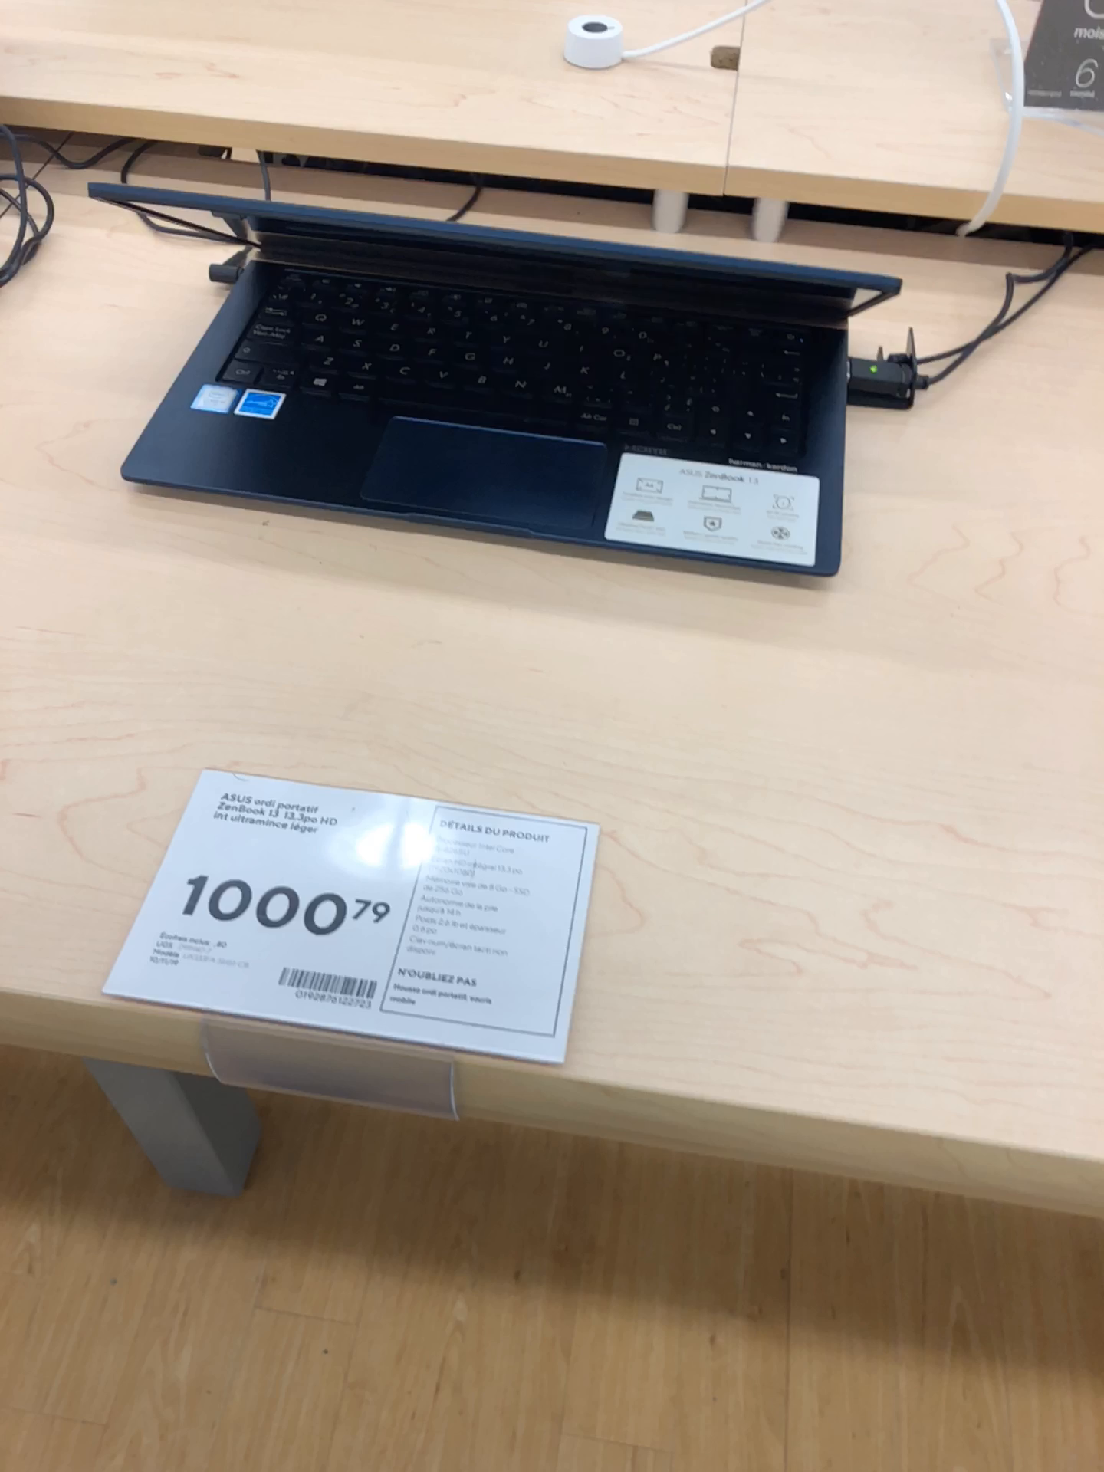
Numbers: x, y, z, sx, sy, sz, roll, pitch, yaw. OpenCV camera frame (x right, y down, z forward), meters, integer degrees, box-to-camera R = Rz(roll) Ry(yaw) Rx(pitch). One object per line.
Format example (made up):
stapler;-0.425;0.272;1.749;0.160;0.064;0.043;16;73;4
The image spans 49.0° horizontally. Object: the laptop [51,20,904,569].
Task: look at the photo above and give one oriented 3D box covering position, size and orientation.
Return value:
laptop;-0.015;-0.197;0.521;0.299;0.107;0.197;9;51;5
